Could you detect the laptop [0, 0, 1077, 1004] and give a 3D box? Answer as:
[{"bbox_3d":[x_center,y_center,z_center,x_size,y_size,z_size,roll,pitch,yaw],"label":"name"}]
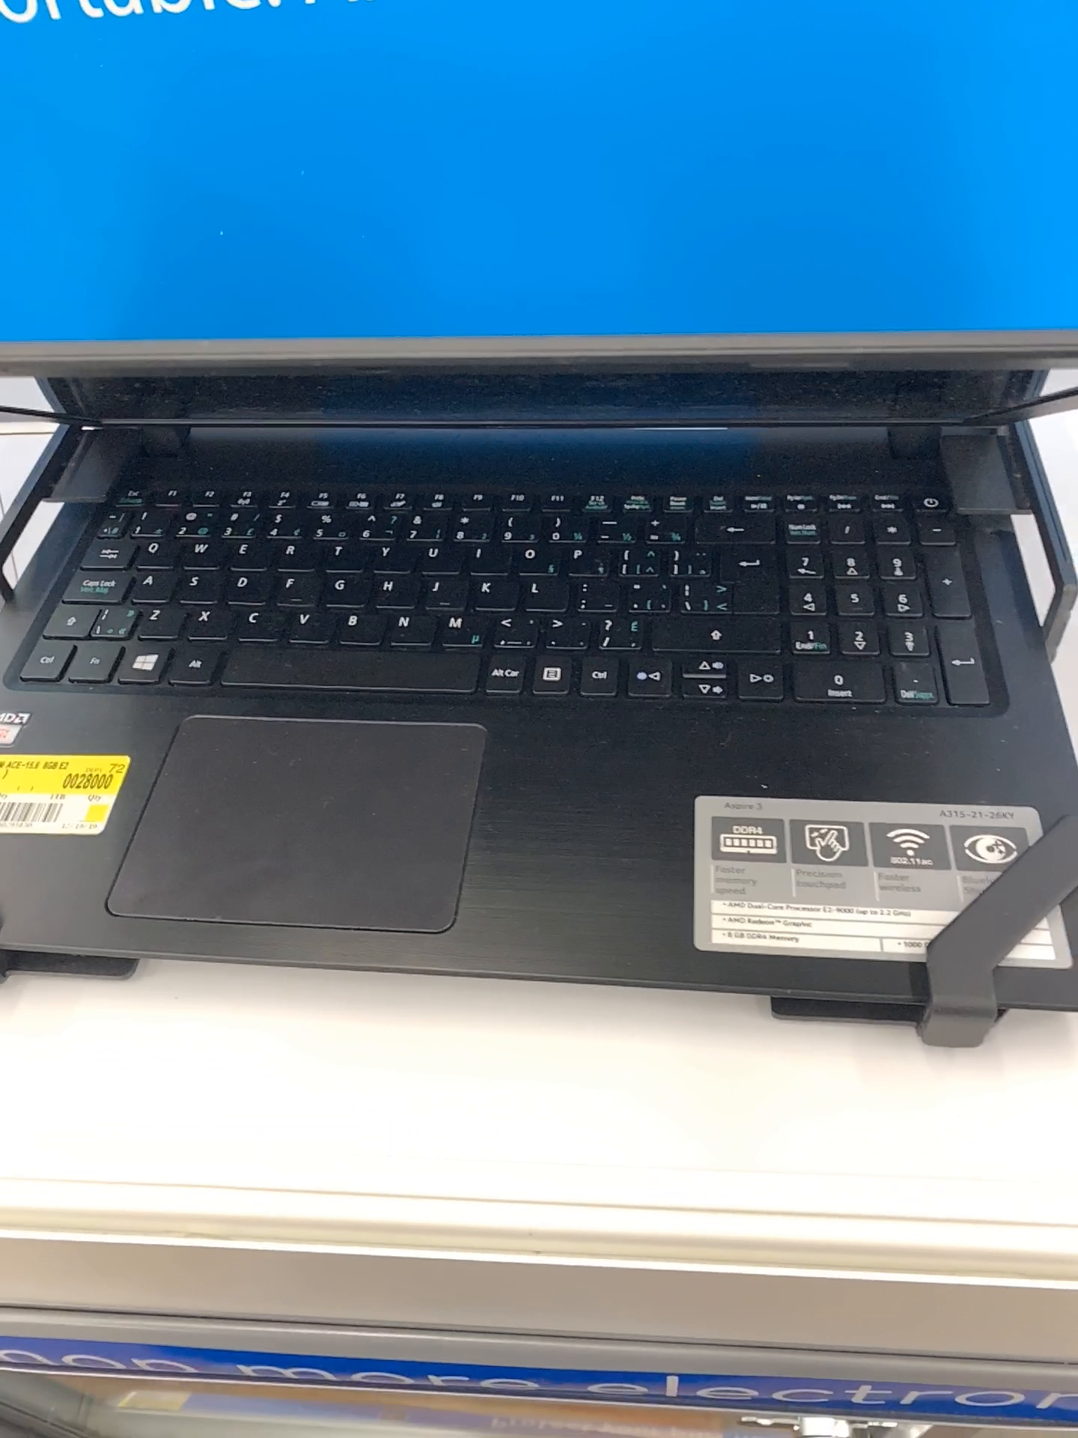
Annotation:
[{"bbox_3d":[-0.024,-0.072,0.322,0.364,0.146,0.234,2,51,7],"label":"laptop"}]
